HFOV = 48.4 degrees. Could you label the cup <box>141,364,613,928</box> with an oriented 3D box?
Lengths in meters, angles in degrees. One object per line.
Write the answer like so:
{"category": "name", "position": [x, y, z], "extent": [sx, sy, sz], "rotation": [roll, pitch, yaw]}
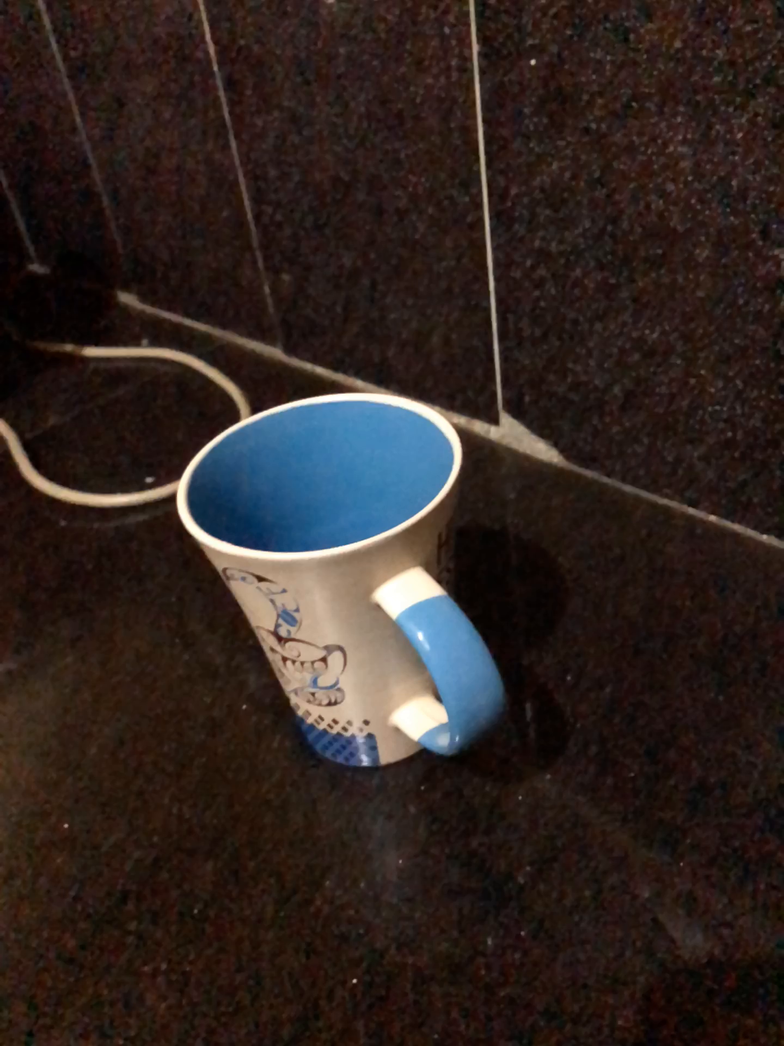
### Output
{"category": "cup", "position": [-0.005, 0.032, 0.297], "extent": [0.090, 0.109, 0.130], "rotation": [-27, 39, -21]}
